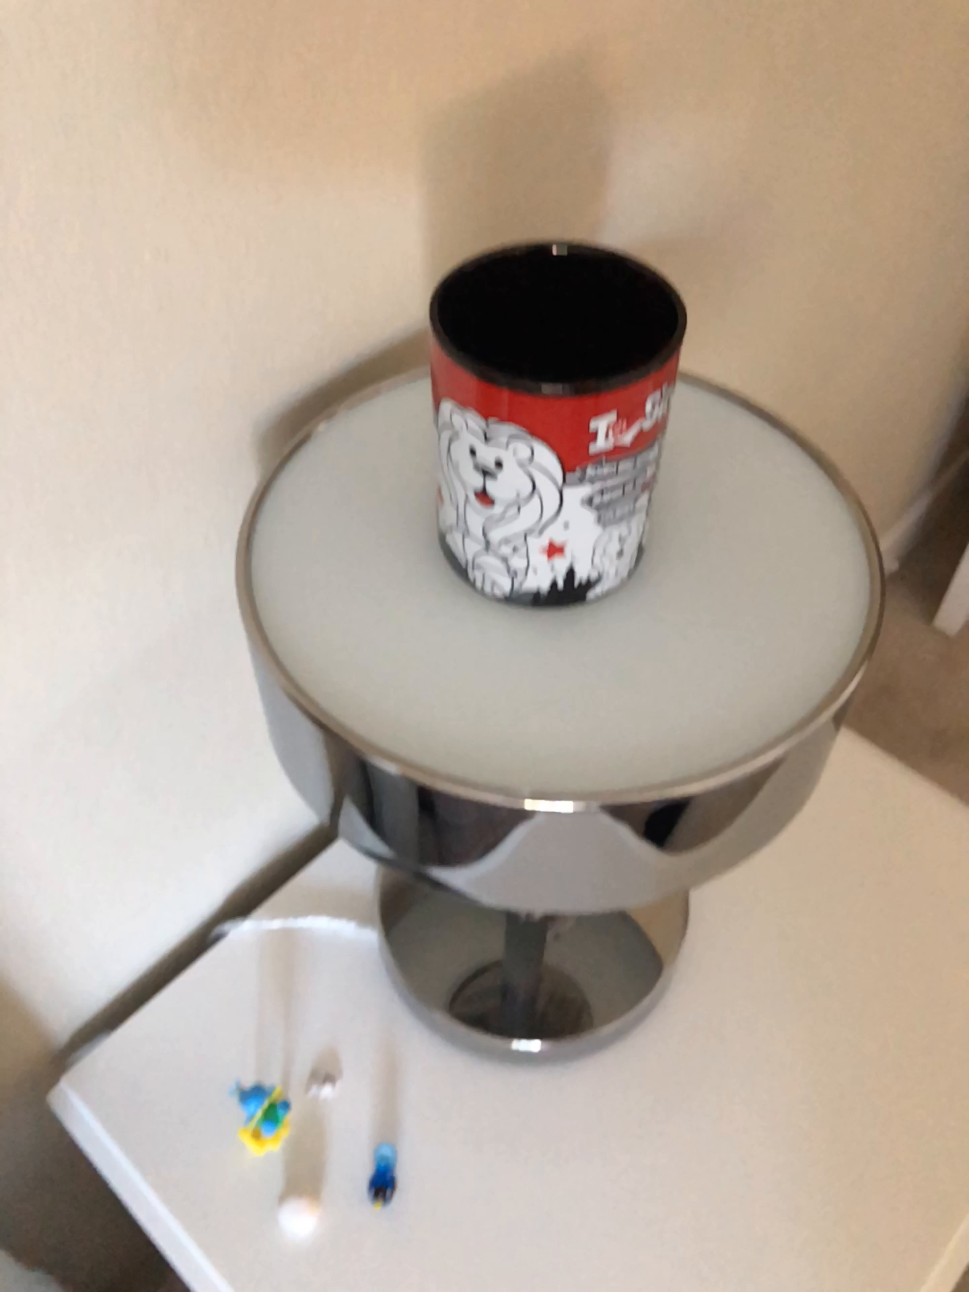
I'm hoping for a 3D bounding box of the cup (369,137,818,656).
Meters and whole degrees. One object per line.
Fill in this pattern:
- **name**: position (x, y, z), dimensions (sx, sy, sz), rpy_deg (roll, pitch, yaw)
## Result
- **cup**: position (0.038, -0.089, 0.372), dimensions (0.090, 0.100, 0.130), rpy_deg (24, 53, 19)
